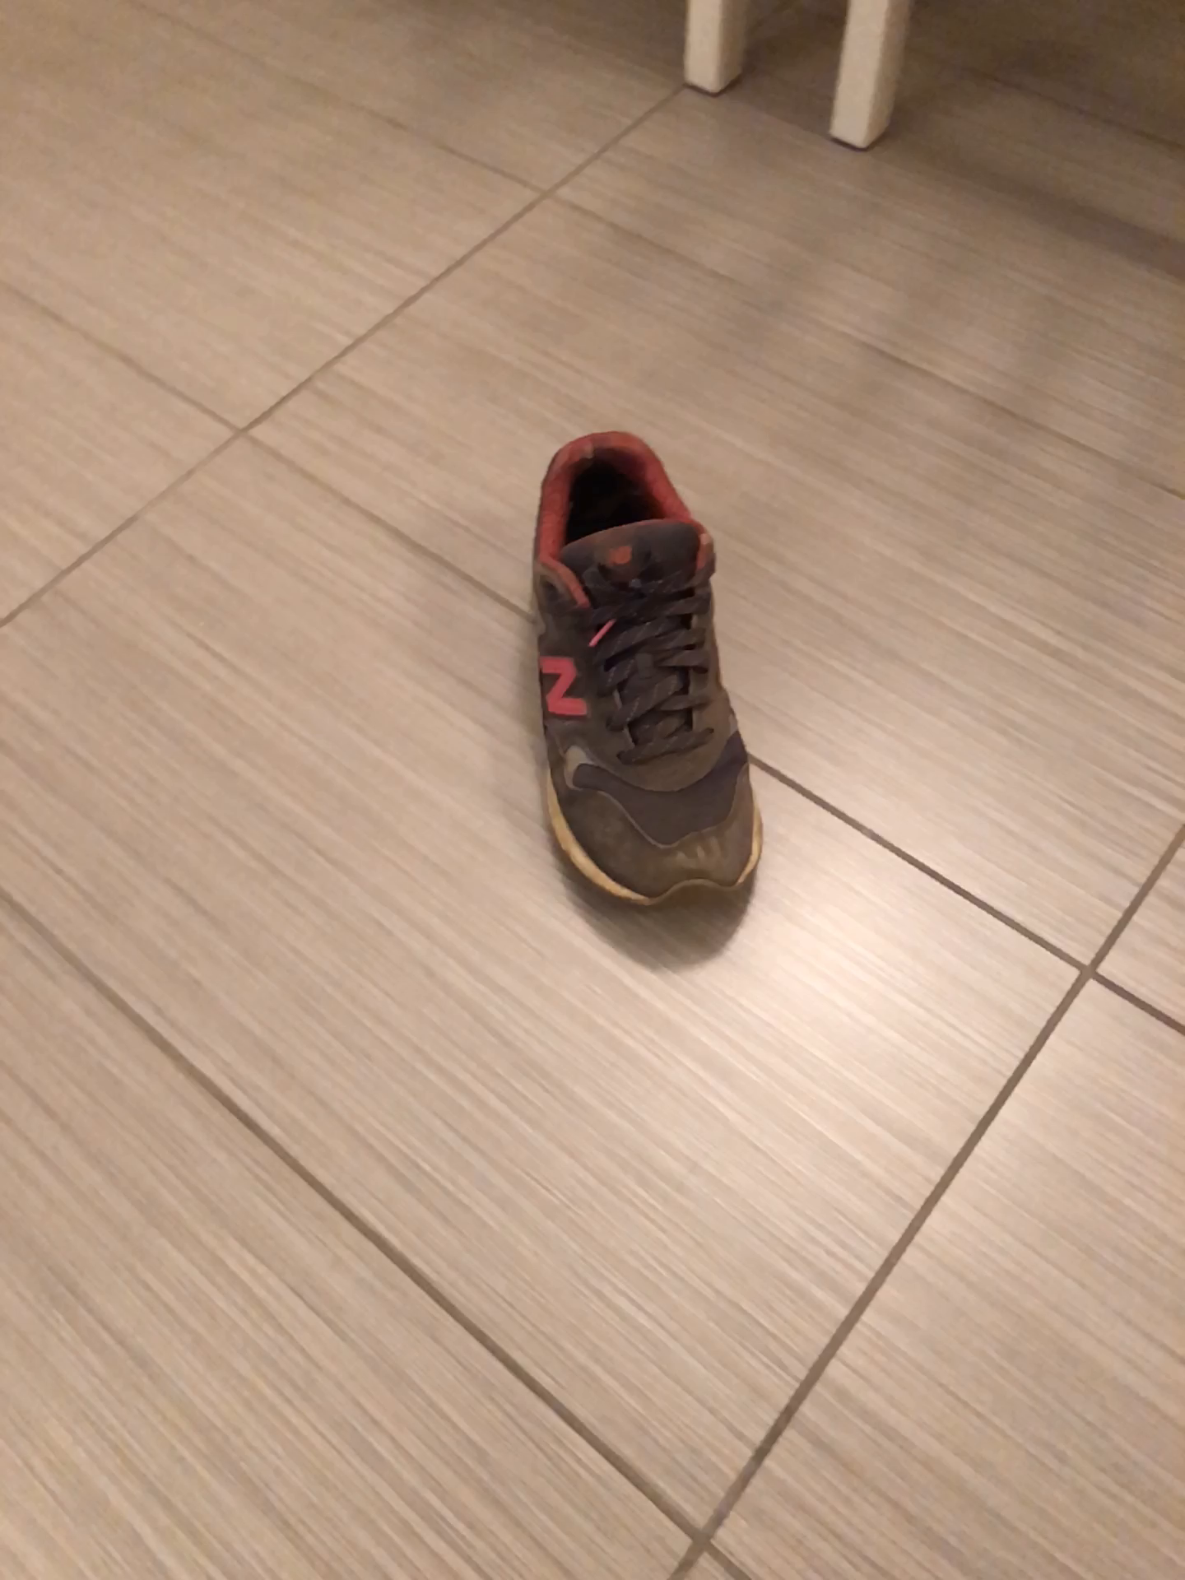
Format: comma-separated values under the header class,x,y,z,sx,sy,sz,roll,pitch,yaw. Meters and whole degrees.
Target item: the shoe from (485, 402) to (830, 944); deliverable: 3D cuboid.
class,x,y,z,sx,sy,sz,roll,pitch,yaw
shoe,0.024,-0.068,0.659,0.120,0.070,0.271,-9,58,-1
